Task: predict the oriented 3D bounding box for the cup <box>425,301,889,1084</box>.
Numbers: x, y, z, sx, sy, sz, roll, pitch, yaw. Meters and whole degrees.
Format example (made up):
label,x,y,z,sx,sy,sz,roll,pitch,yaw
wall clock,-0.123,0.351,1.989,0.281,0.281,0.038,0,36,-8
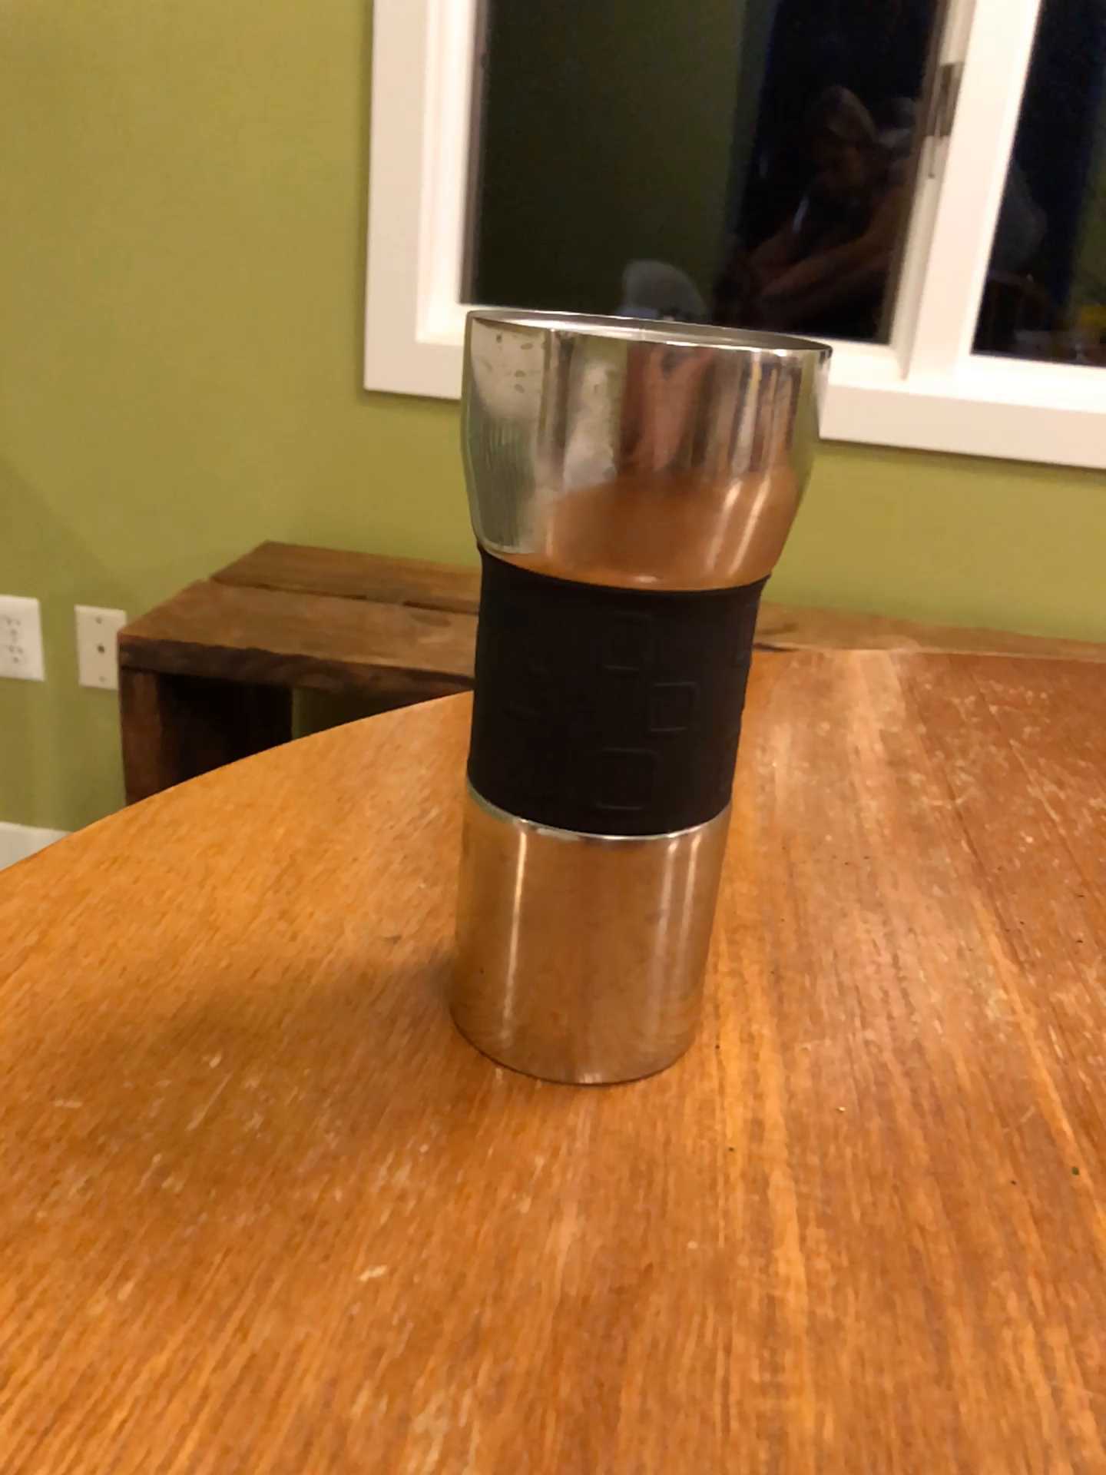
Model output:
label,x,y,z,sx,sy,sz,roll,pitch,yaw
cup,0.014,-0.013,0.308,0.083,0.173,0.088,4,21,-2
